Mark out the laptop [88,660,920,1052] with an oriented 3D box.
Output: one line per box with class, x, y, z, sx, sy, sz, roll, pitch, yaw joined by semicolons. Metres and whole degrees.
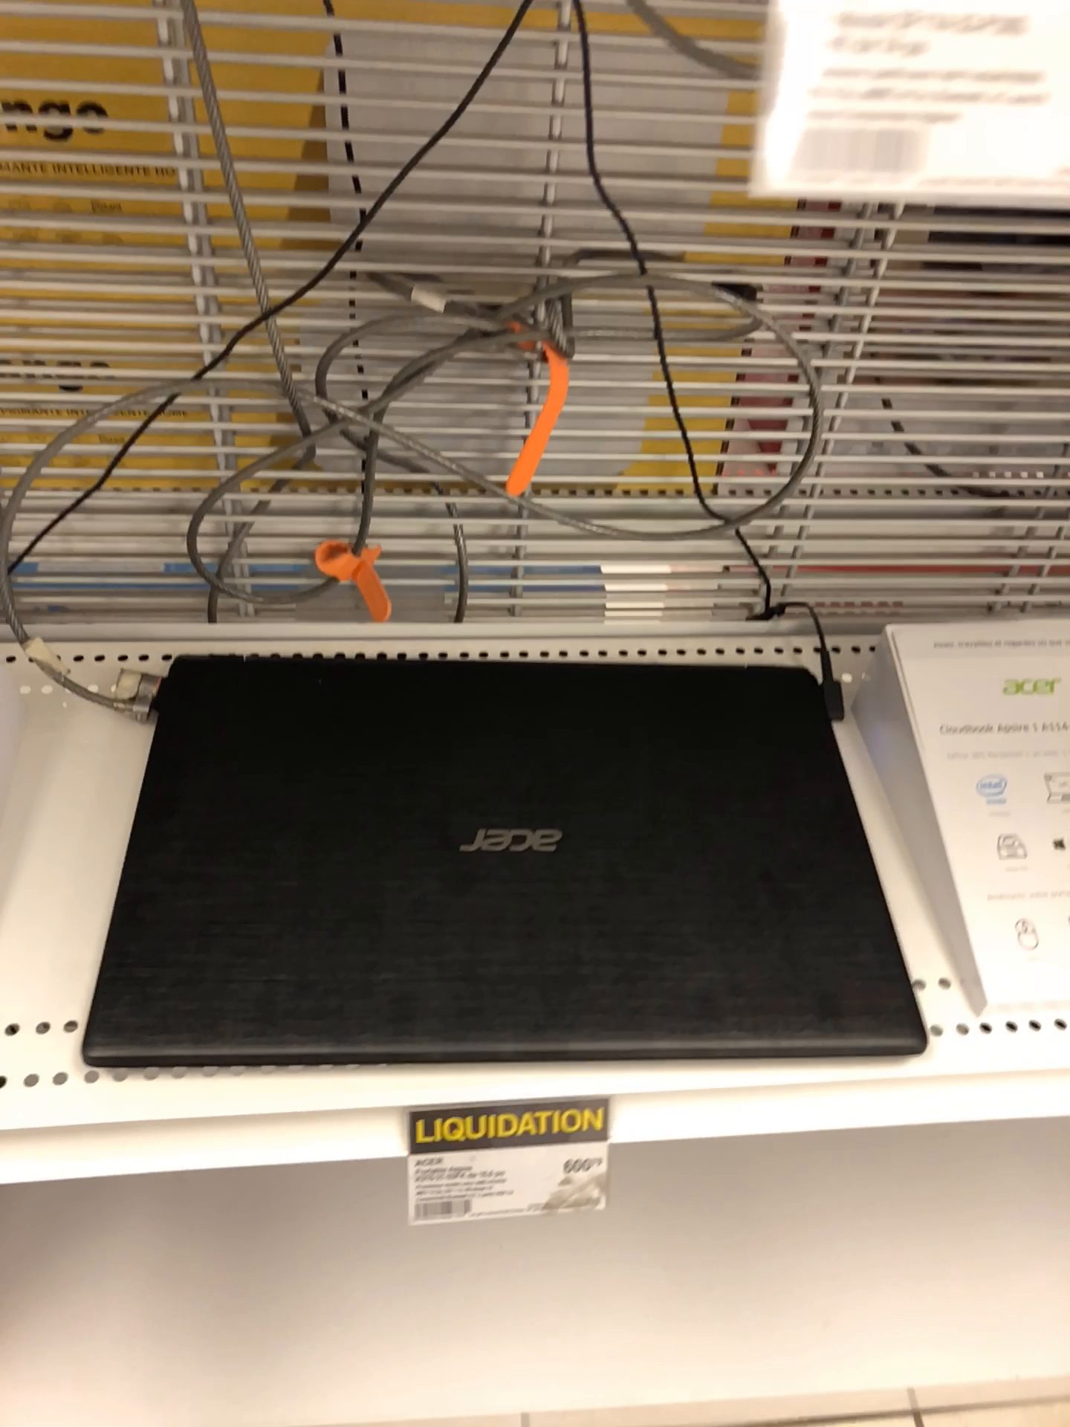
laptop;-0.012;0.060;0.616;0.374;0.003;0.248;1;45;-6
